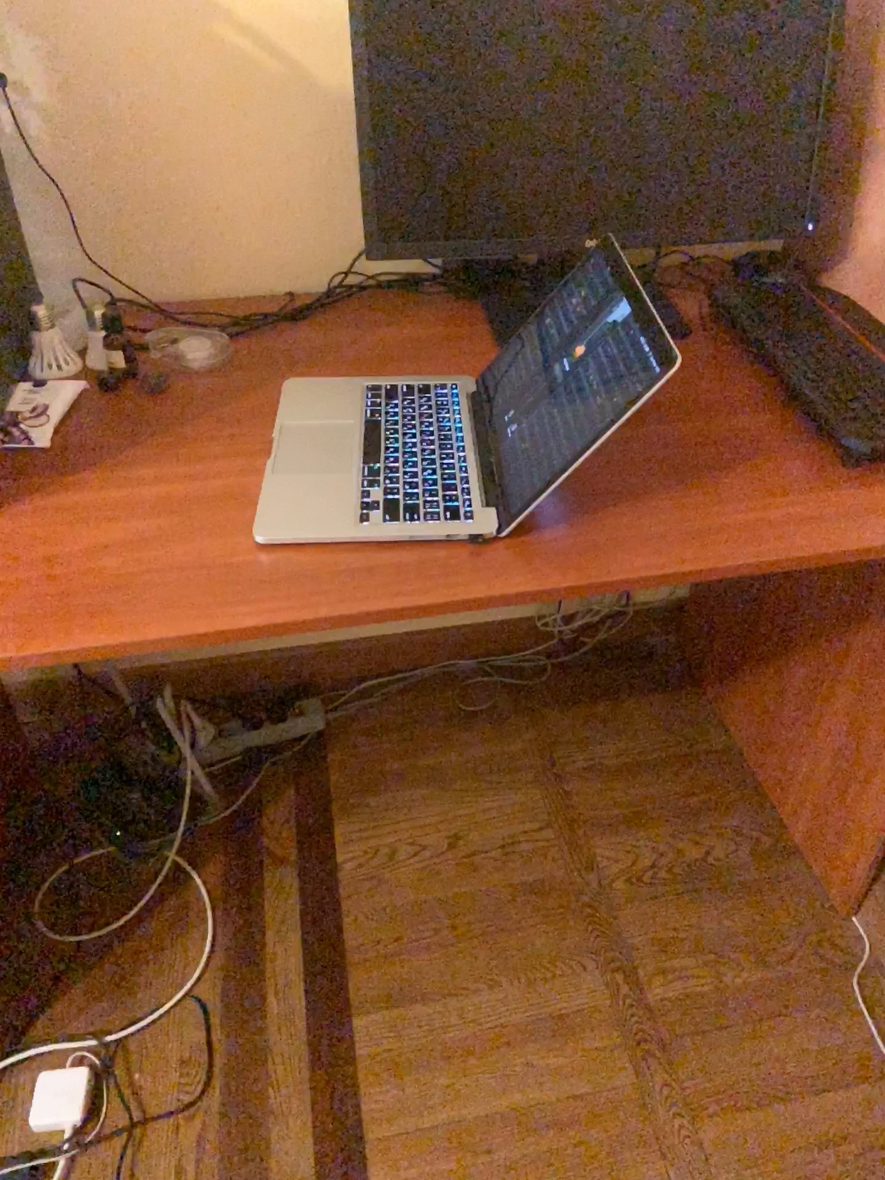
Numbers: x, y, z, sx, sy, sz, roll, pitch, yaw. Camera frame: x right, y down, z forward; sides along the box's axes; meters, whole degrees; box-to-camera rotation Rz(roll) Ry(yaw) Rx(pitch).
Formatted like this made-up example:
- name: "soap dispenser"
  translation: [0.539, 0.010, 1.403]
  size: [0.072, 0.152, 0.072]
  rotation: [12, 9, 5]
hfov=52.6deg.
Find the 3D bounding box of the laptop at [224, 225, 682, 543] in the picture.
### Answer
- name: "laptop"
  translation: [0.004, -0.198, 0.801]
  size: [0.333, 0.139, 0.287]
  rotation: [-3, 40, -2]
